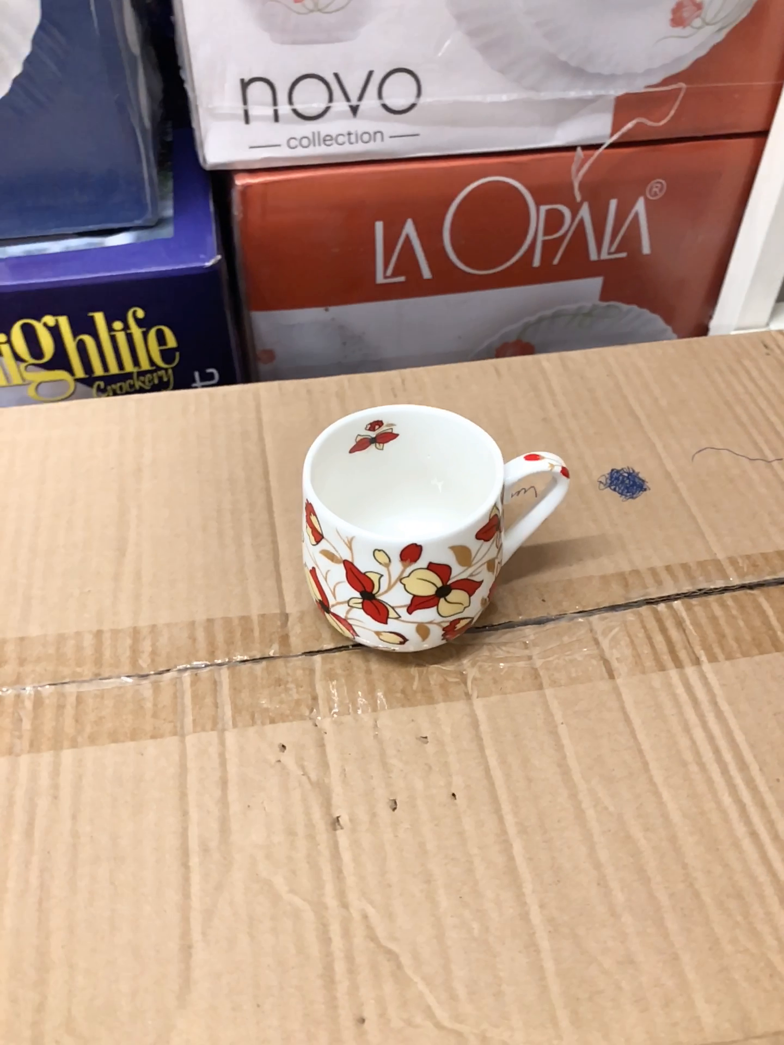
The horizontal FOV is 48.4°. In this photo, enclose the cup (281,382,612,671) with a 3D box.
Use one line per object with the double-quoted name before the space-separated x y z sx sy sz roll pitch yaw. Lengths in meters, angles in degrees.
"cup" 0.014 0.000 0.288 0.090 0.060 0.060 -7 46 -7
